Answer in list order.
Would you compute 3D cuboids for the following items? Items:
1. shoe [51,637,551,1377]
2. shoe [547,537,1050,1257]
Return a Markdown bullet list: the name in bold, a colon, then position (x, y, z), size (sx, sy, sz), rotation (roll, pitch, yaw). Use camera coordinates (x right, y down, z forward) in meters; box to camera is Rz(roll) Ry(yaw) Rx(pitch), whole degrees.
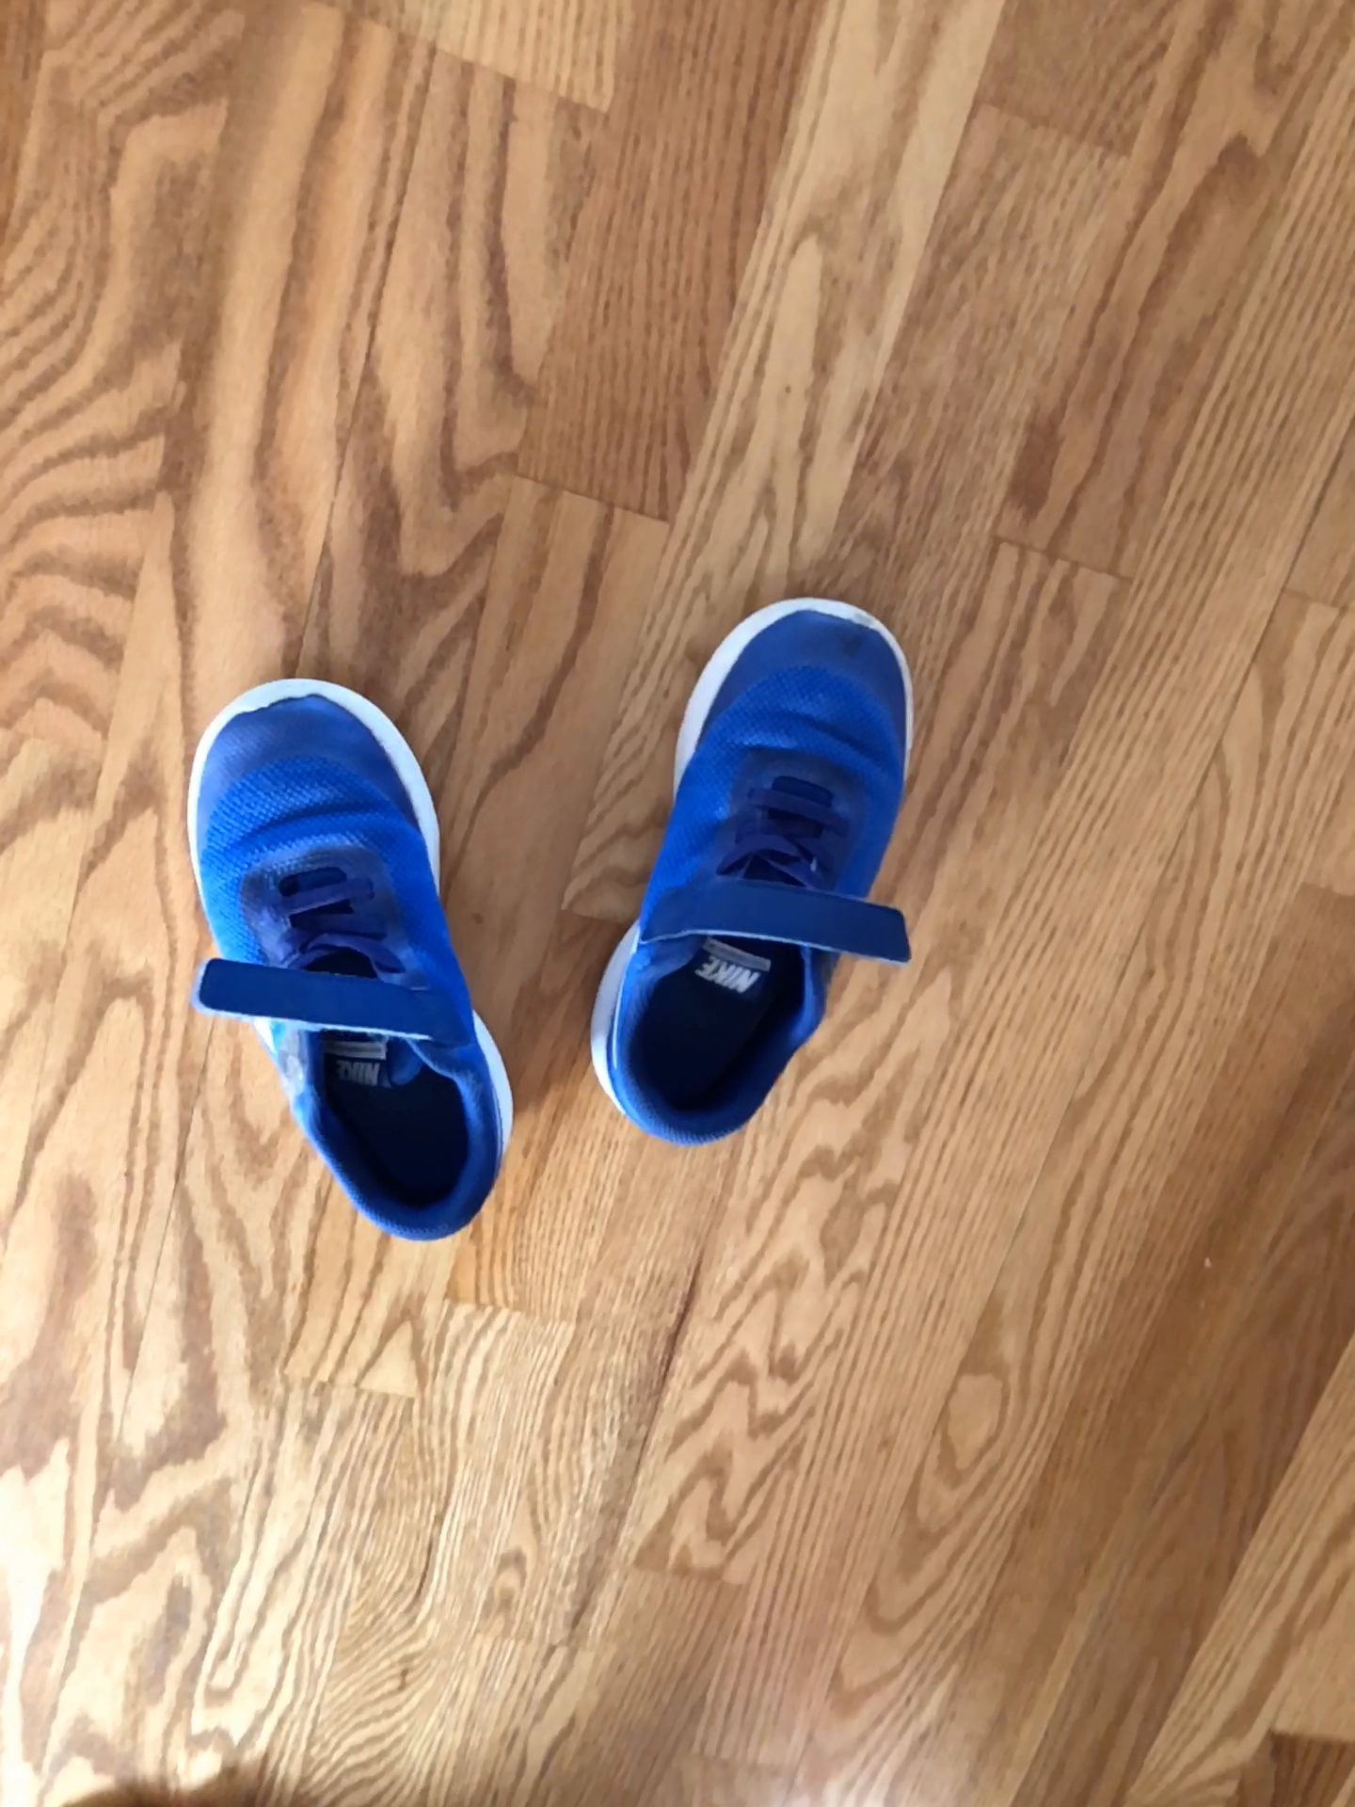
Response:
- **shoe**: position (-0.115, 0.032, 0.499), size (0.093, 0.092, 0.215), rotation (-13, 109, -2)
- **shoe**: position (0.031, -0.004, 0.511), size (0.093, 0.092, 0.214), rotation (15, 106, -11)
